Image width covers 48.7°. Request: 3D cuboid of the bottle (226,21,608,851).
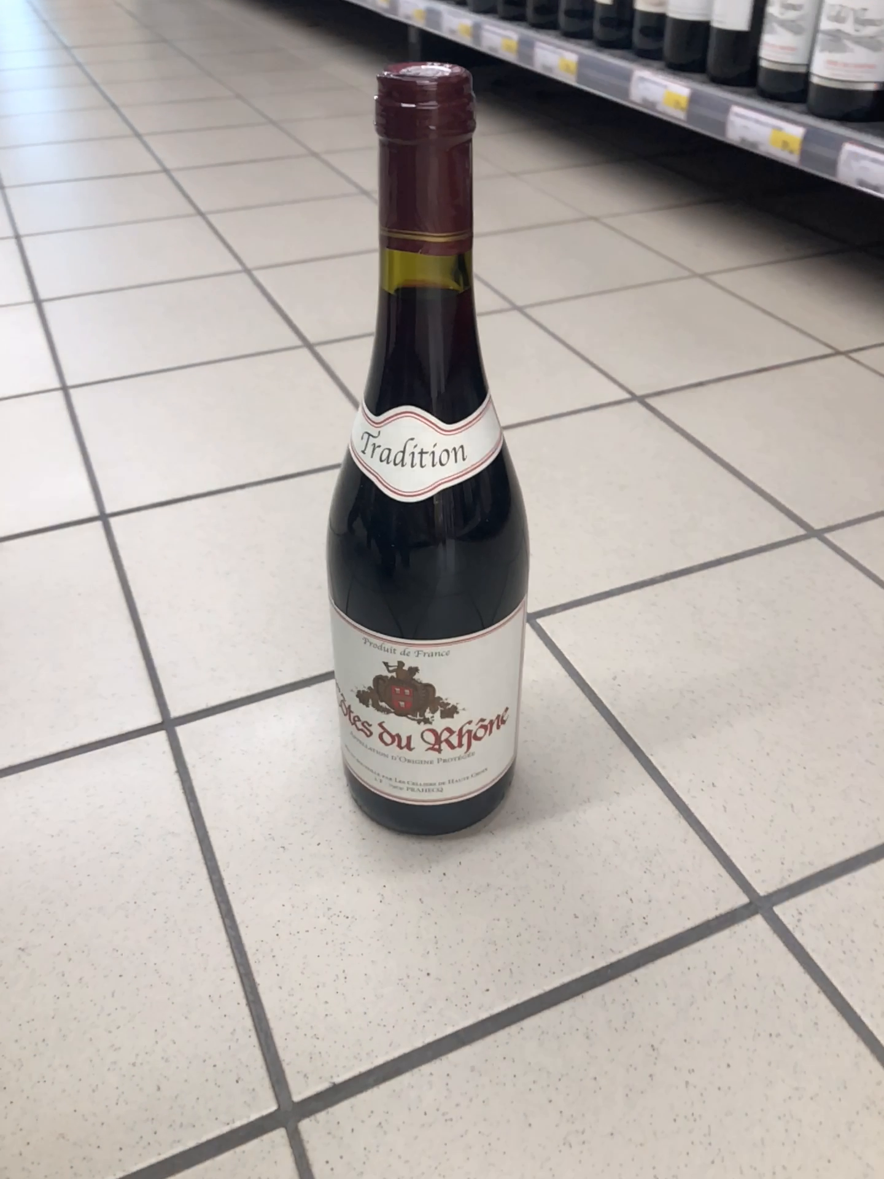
[{"bbox_3d":[-0.001,-0.040,0.365,0.090,0.288,0.091,0,36,0],"label":"bottle"}]
